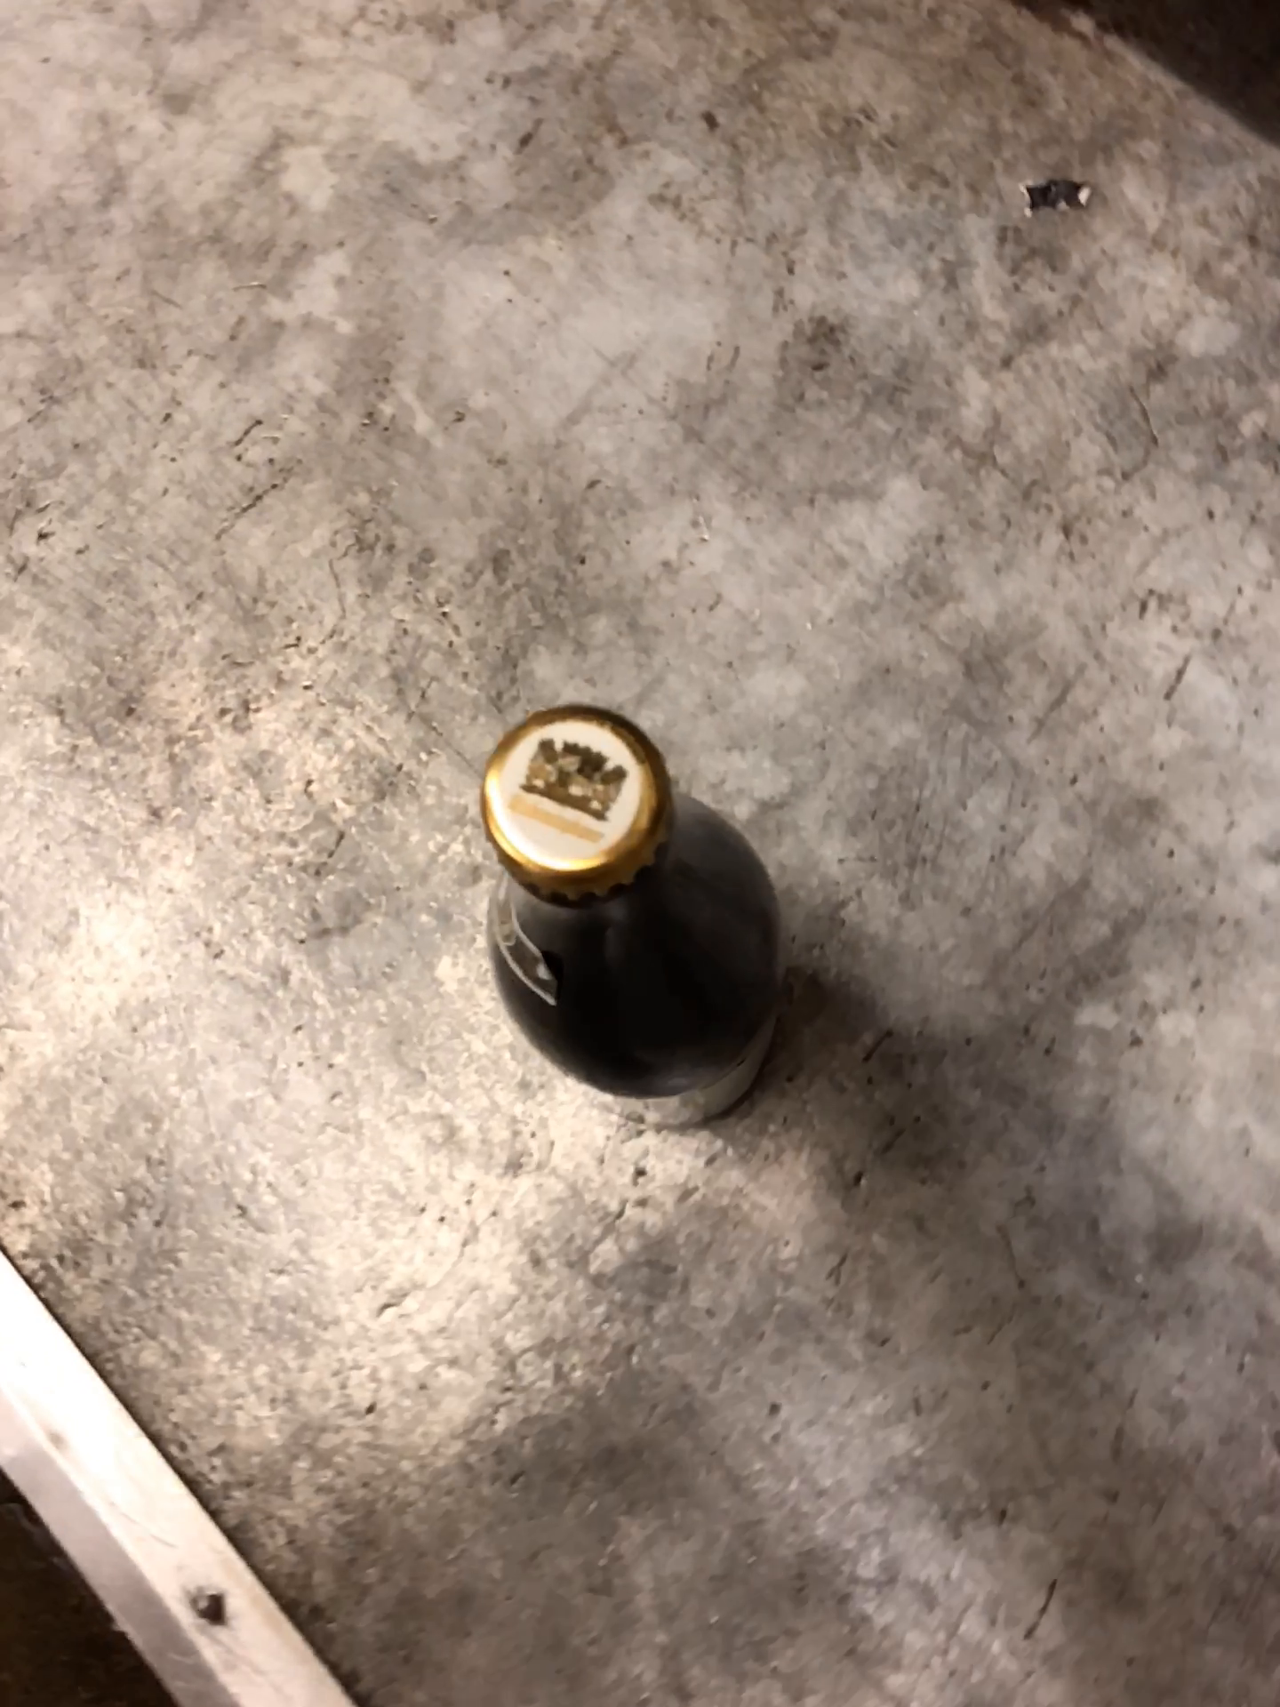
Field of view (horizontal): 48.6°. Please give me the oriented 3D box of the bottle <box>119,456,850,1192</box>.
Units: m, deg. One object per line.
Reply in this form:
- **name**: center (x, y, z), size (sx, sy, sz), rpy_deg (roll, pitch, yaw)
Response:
- **bottle**: center (-0.010, 0.022, 0.306), size (0.070, 0.250, 0.070), rpy_deg (-1, 76, 5)
